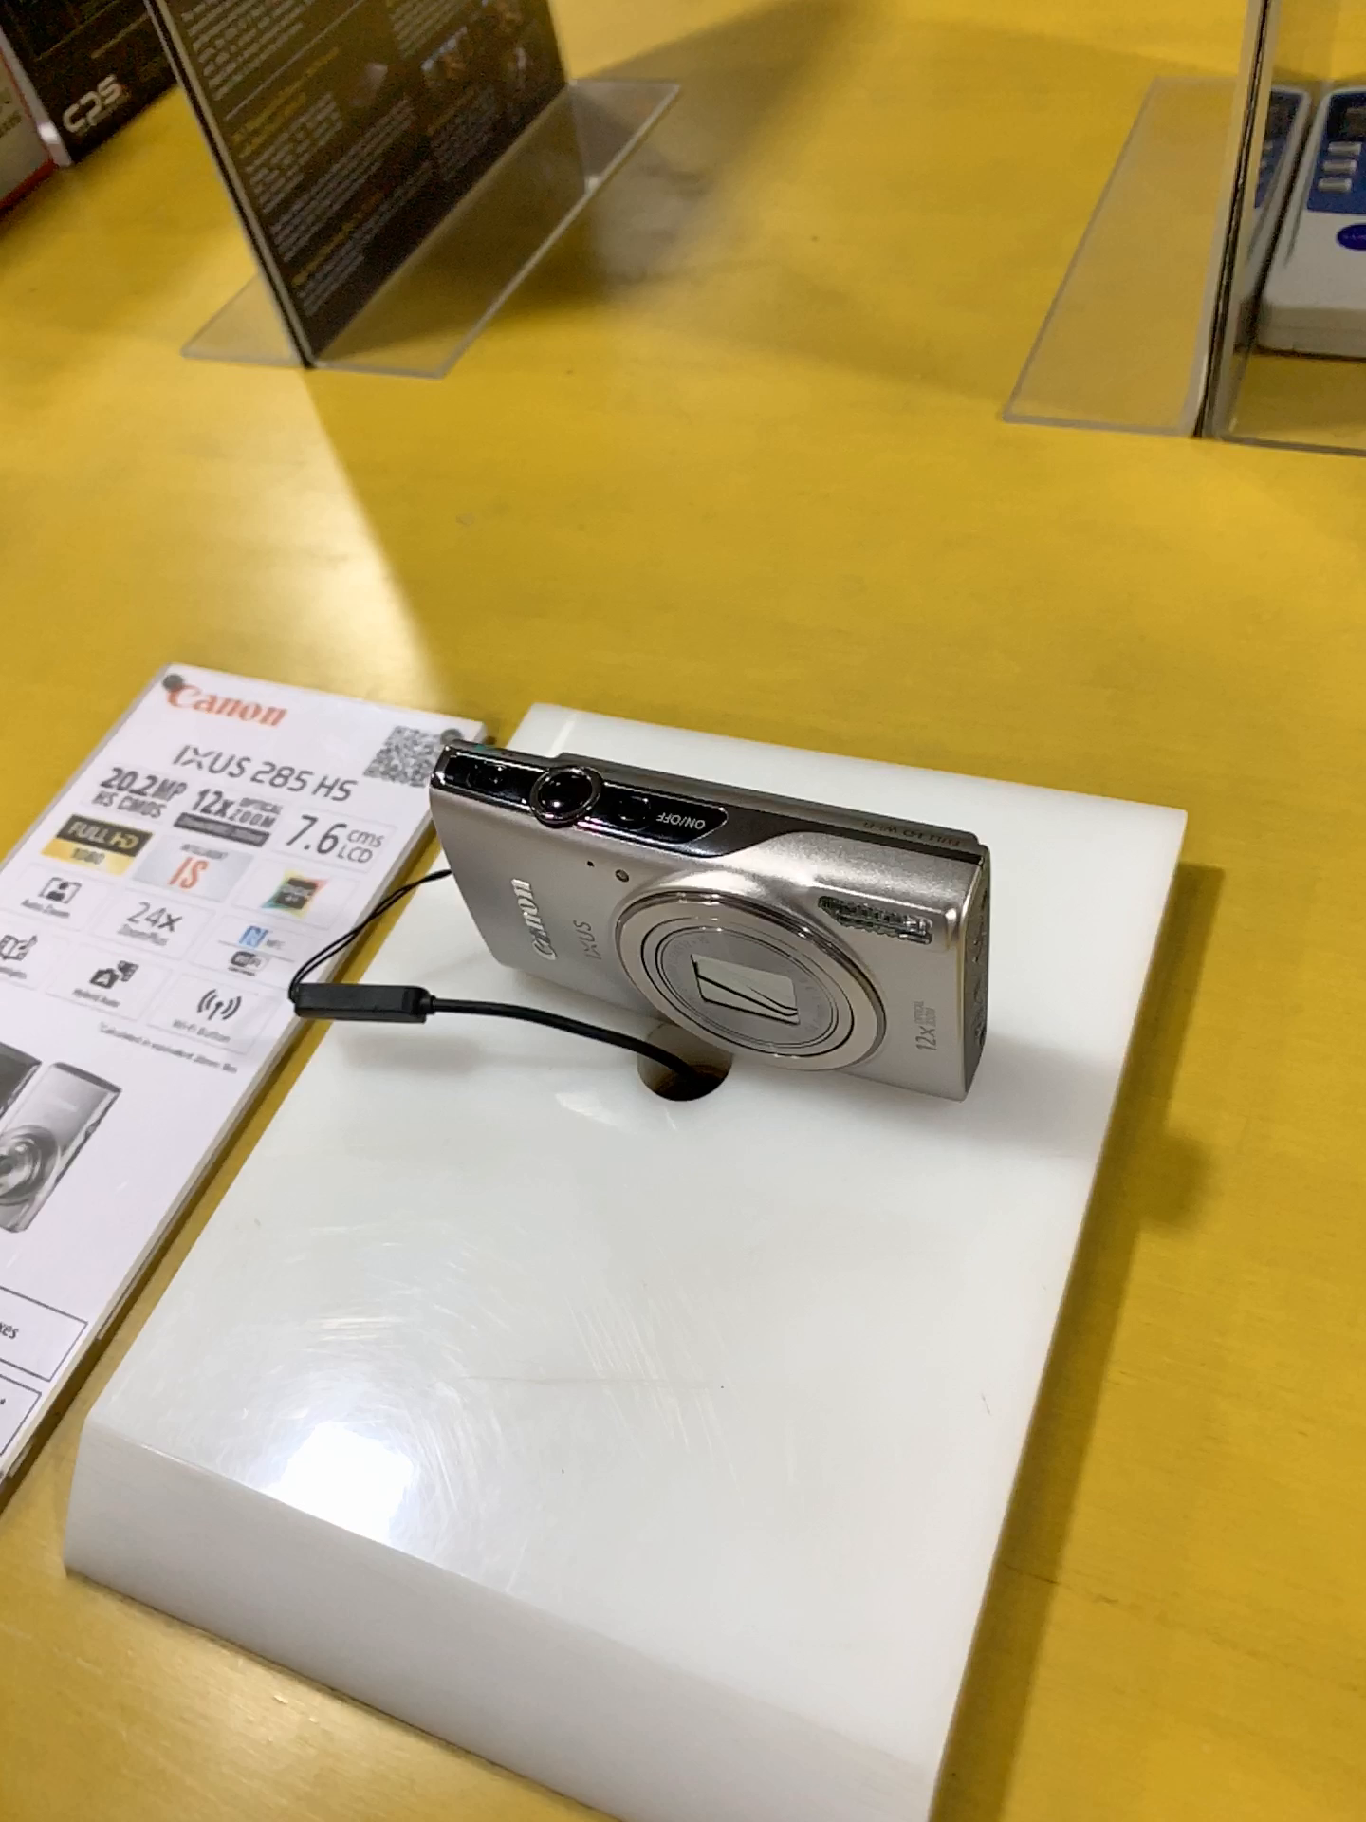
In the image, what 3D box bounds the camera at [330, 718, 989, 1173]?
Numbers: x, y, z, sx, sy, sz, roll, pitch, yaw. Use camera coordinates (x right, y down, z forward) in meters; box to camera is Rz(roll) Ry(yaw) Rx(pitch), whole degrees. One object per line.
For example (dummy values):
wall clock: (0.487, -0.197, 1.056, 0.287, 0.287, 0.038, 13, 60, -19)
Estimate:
camera: (-0.002, 0.005, 0.237, 0.100, 0.050, 0.030, 14, 57, 22)
